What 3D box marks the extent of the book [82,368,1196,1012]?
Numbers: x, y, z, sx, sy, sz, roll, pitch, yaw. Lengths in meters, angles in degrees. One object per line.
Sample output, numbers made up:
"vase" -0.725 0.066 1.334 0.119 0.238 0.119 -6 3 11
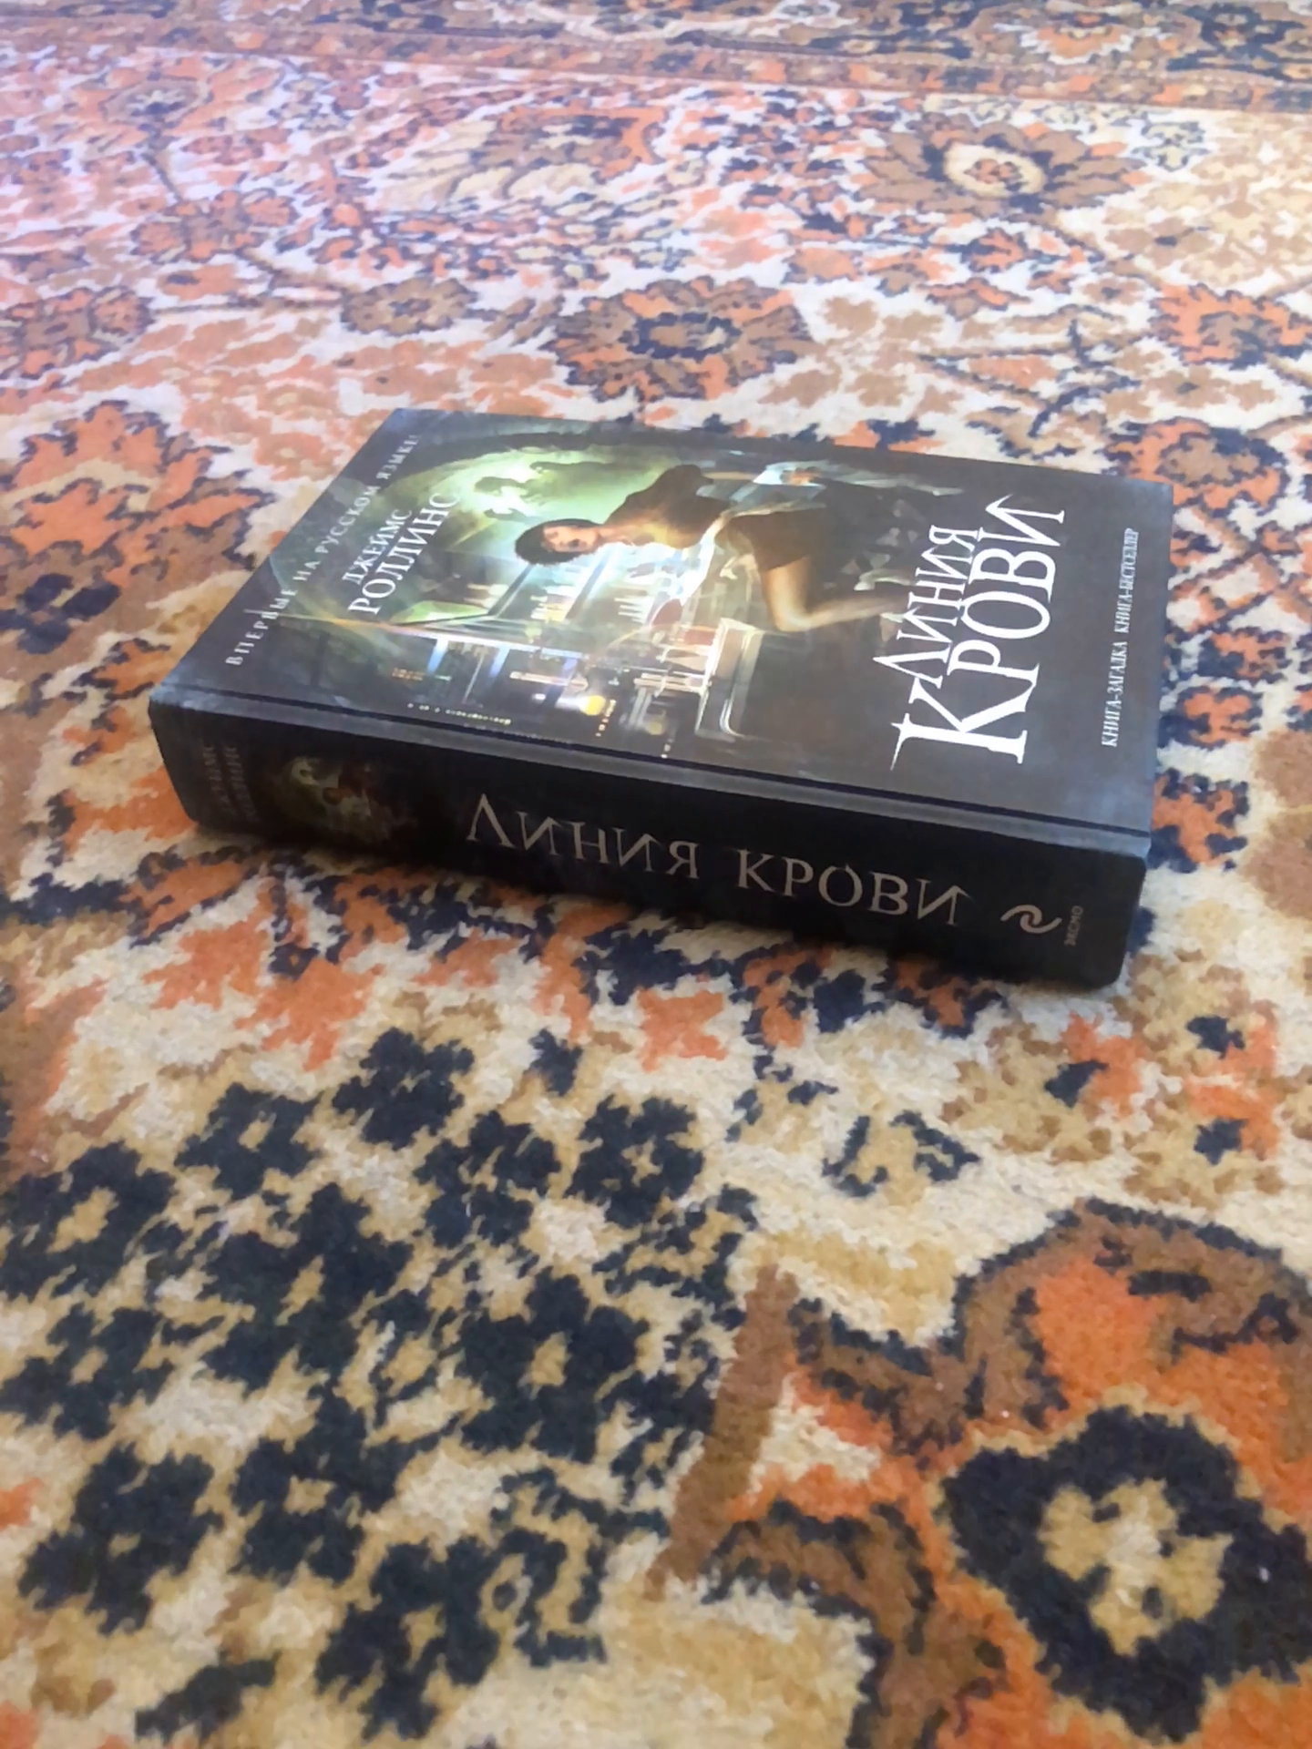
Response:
"book" 0.009 -0.059 0.354 0.226 0.040 0.160 9 45 12
